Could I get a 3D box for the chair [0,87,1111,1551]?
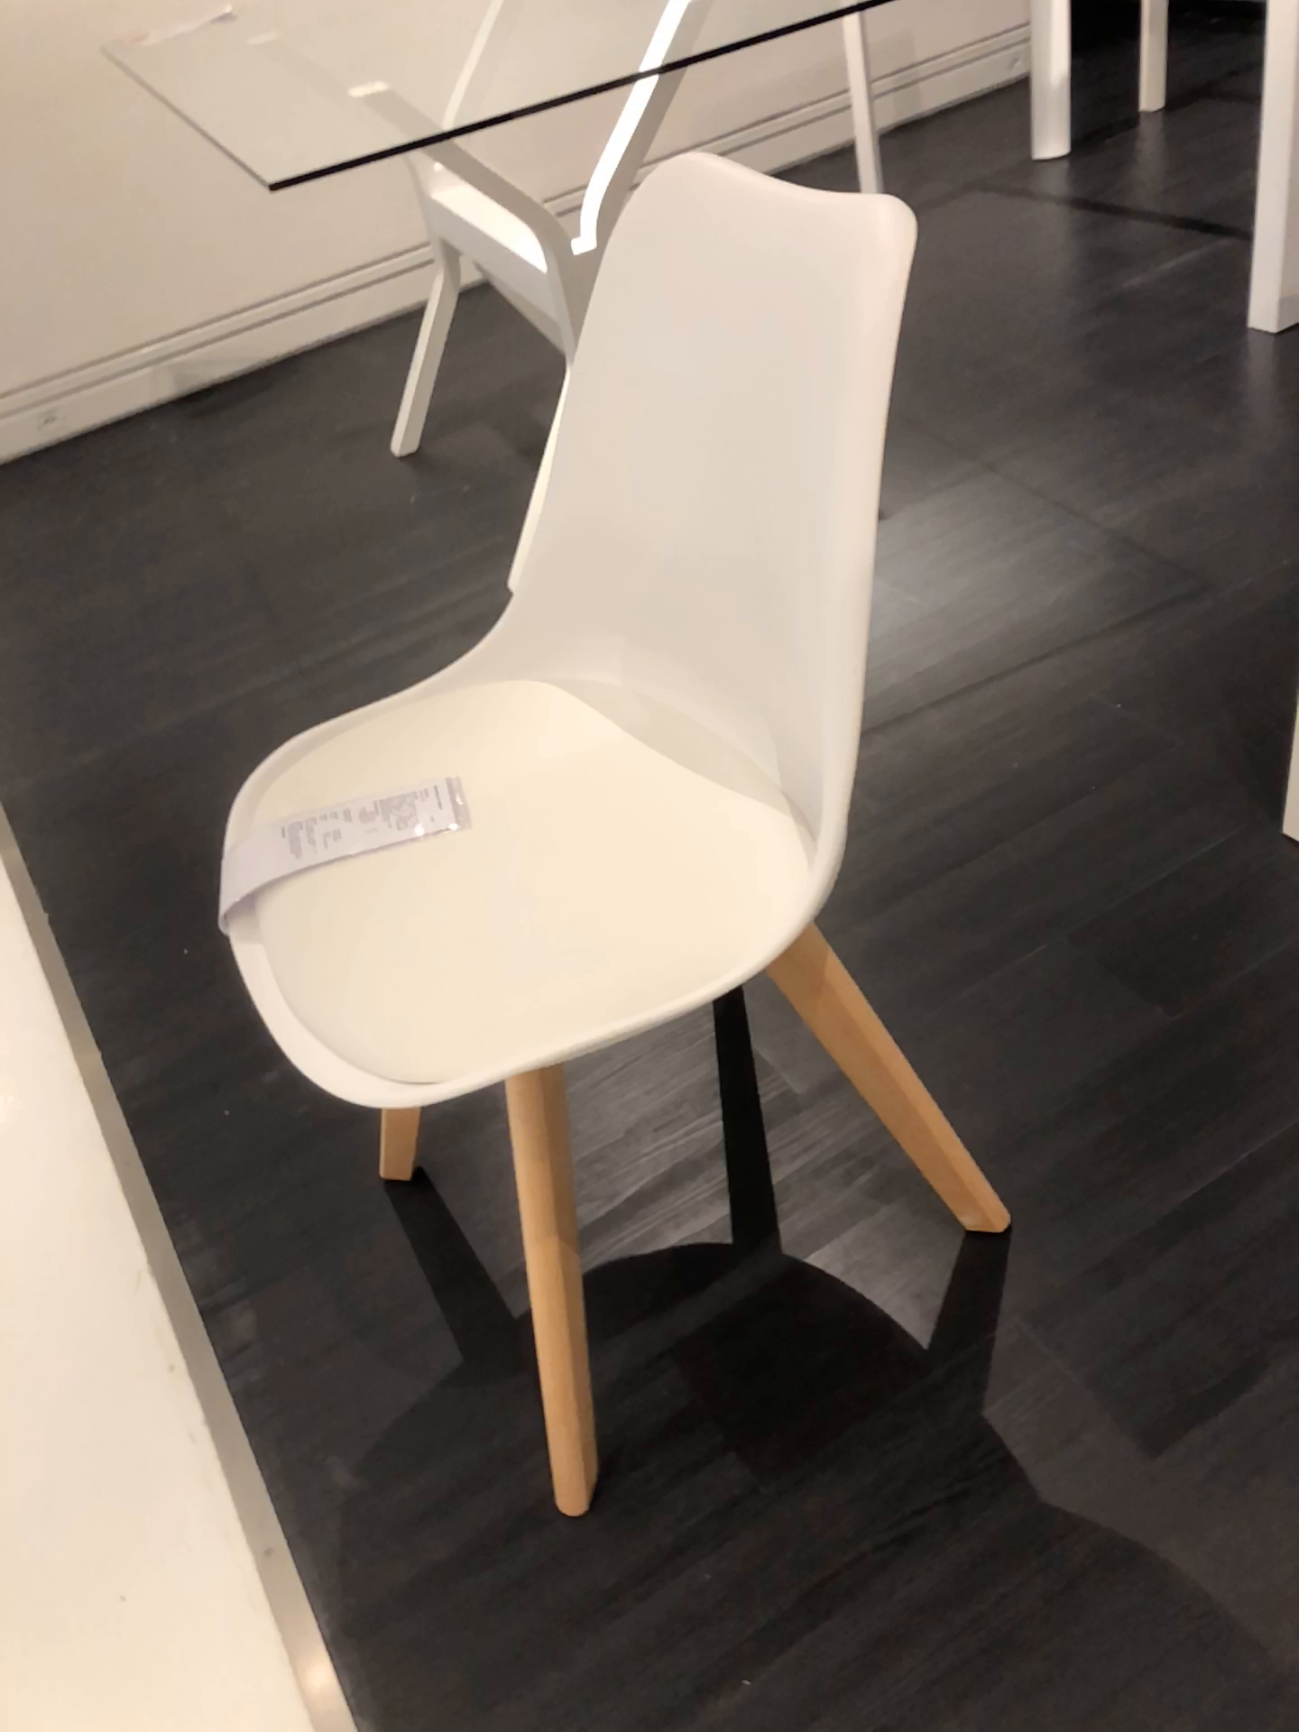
[{"bbox_3d":[-0.048,-0.046,1.041,0.531,0.784,0.503,-26,39,-15],"label":"chair"}]
